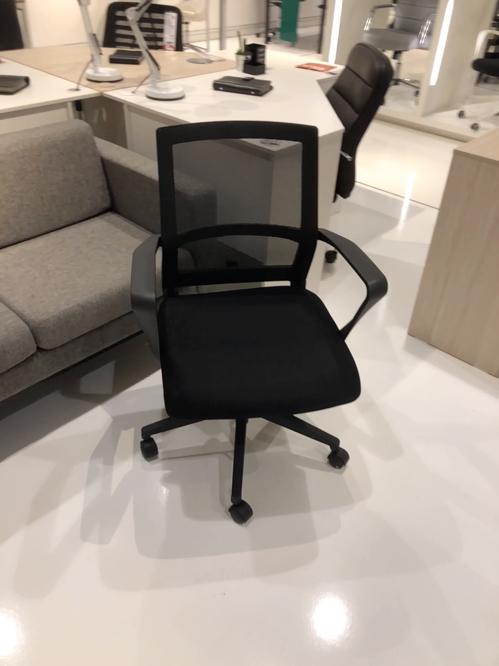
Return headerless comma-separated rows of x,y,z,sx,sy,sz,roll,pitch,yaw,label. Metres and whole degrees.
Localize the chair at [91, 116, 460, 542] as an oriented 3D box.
-0.005,-0.023,1.510,0.680,0.933,0.635,-4,36,-9,chair
